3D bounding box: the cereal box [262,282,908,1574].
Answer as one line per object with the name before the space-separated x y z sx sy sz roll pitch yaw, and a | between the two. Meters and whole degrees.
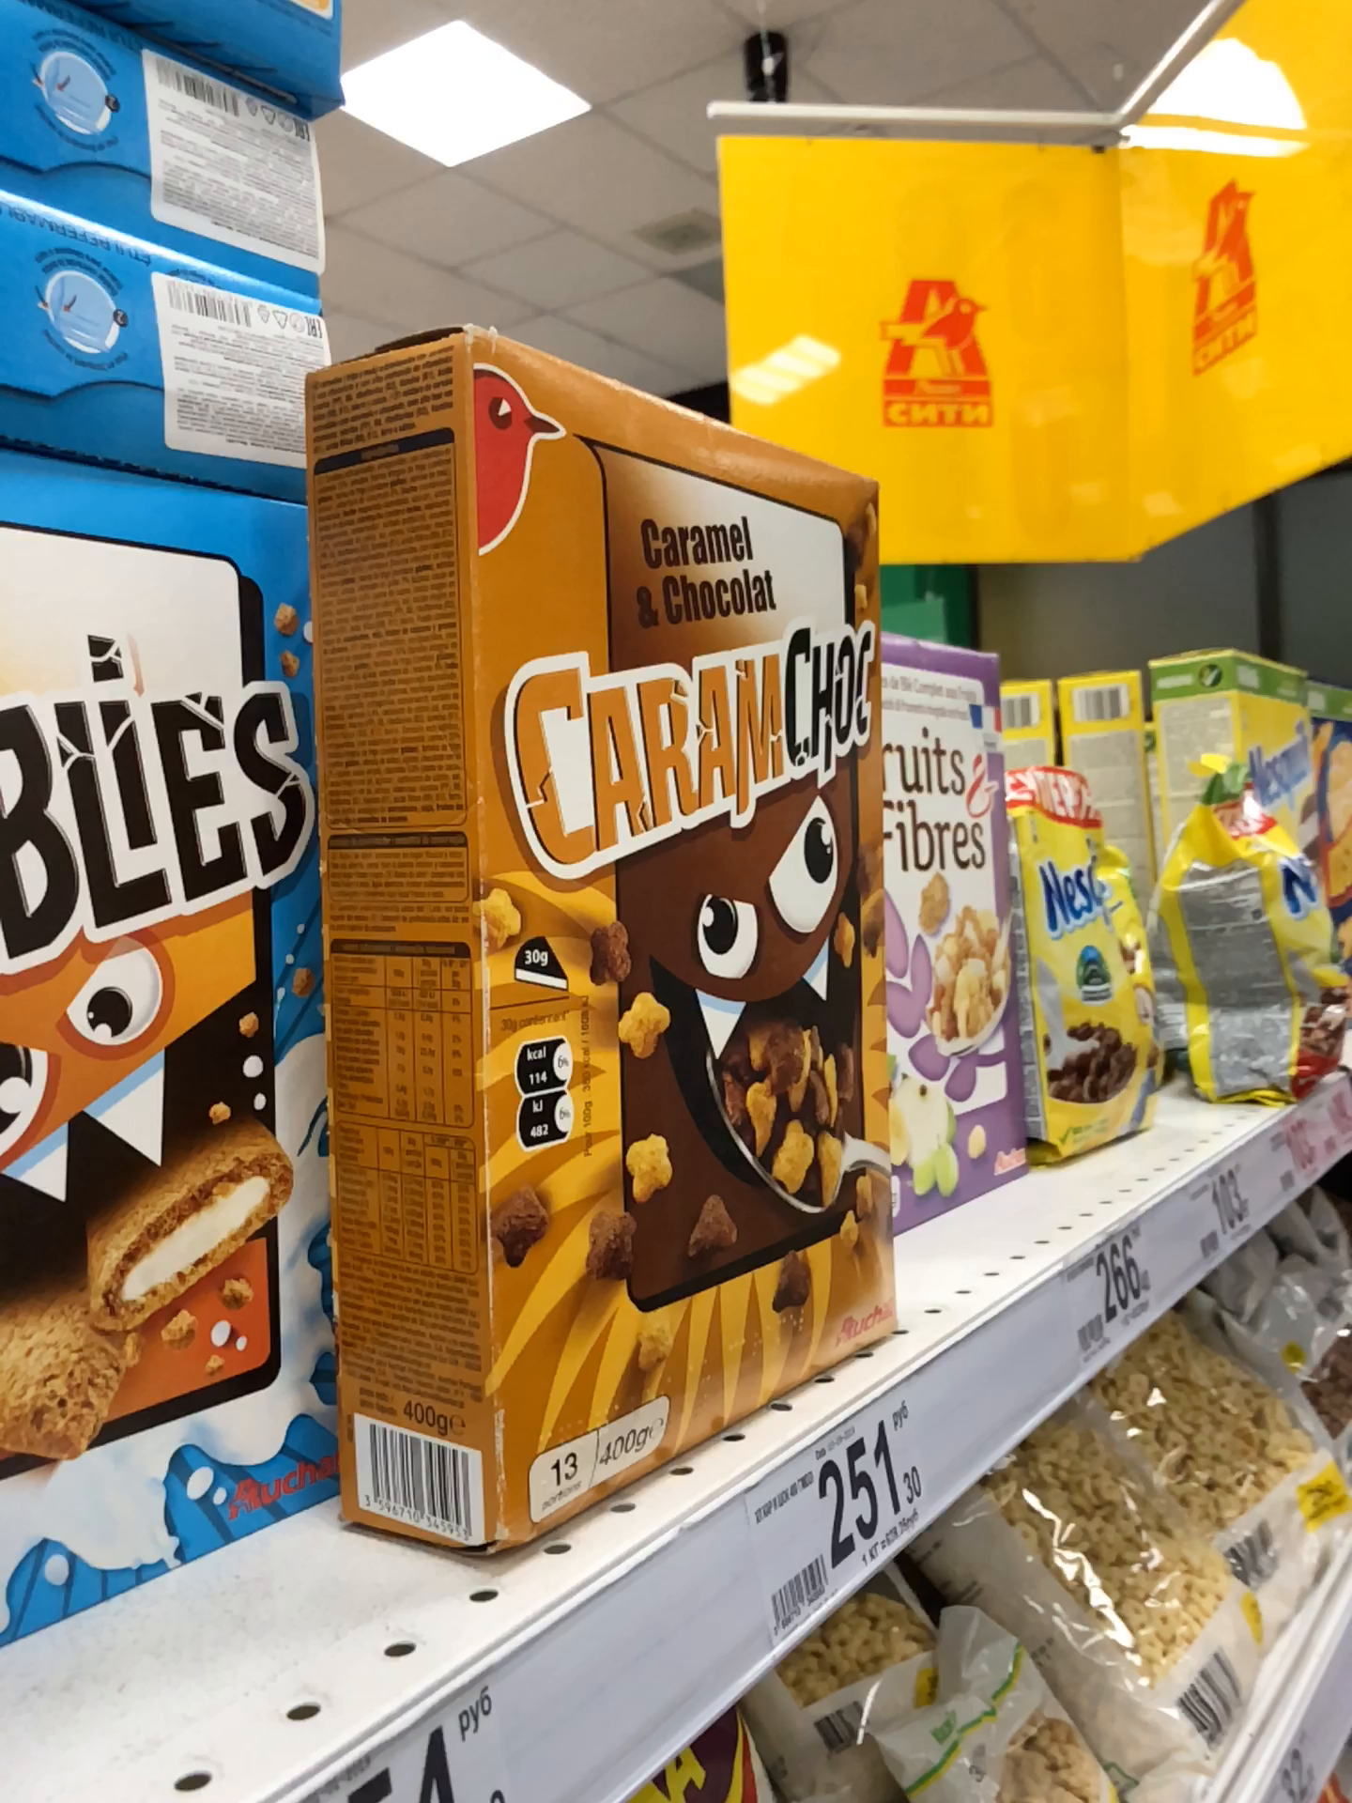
cereal box | -0.010 0.002 0.411 0.060 0.270 0.200 0 2 35
